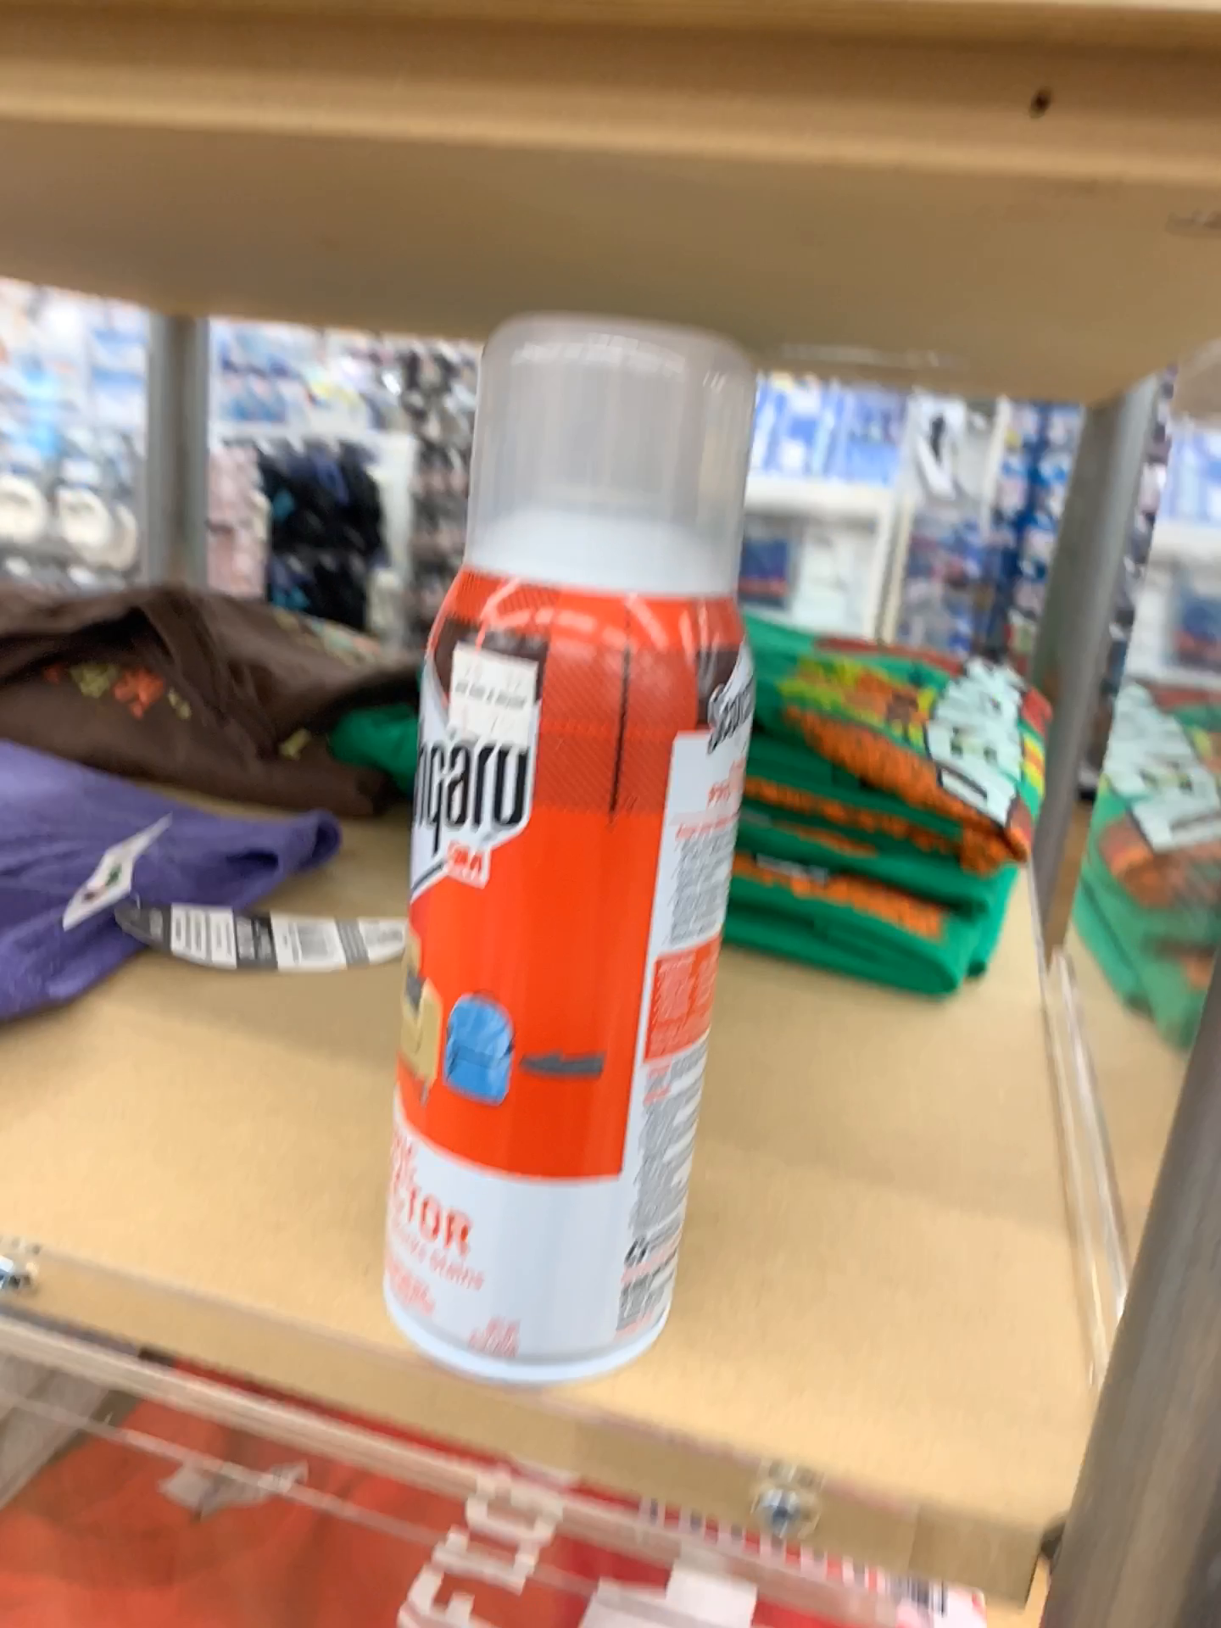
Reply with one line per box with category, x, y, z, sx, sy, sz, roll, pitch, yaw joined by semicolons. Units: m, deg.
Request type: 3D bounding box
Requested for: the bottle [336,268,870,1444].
bottle;-0.012;0.010;0.251;0.067;0.206;0.069;6;16;-2
